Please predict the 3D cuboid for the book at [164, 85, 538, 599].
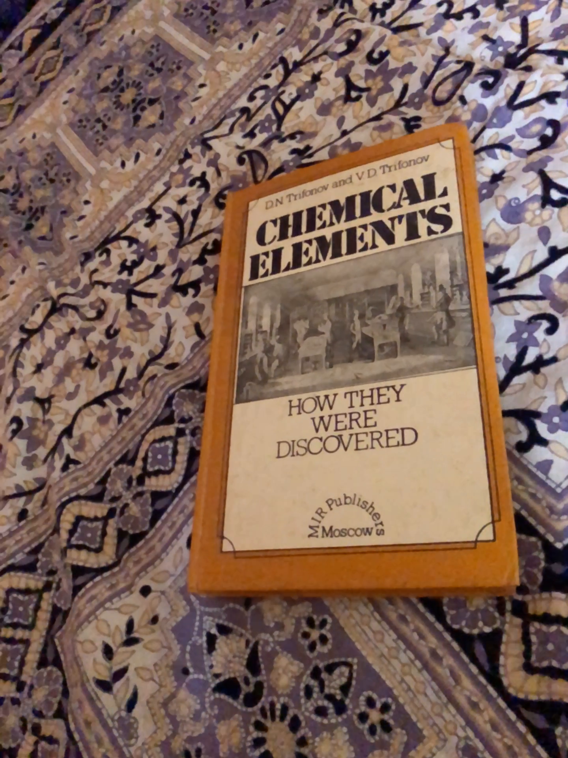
[{"bbox_3d":[0.024,-0.019,0.287,0.140,0.030,0.220,-10,63,25],"label":"book"}]
